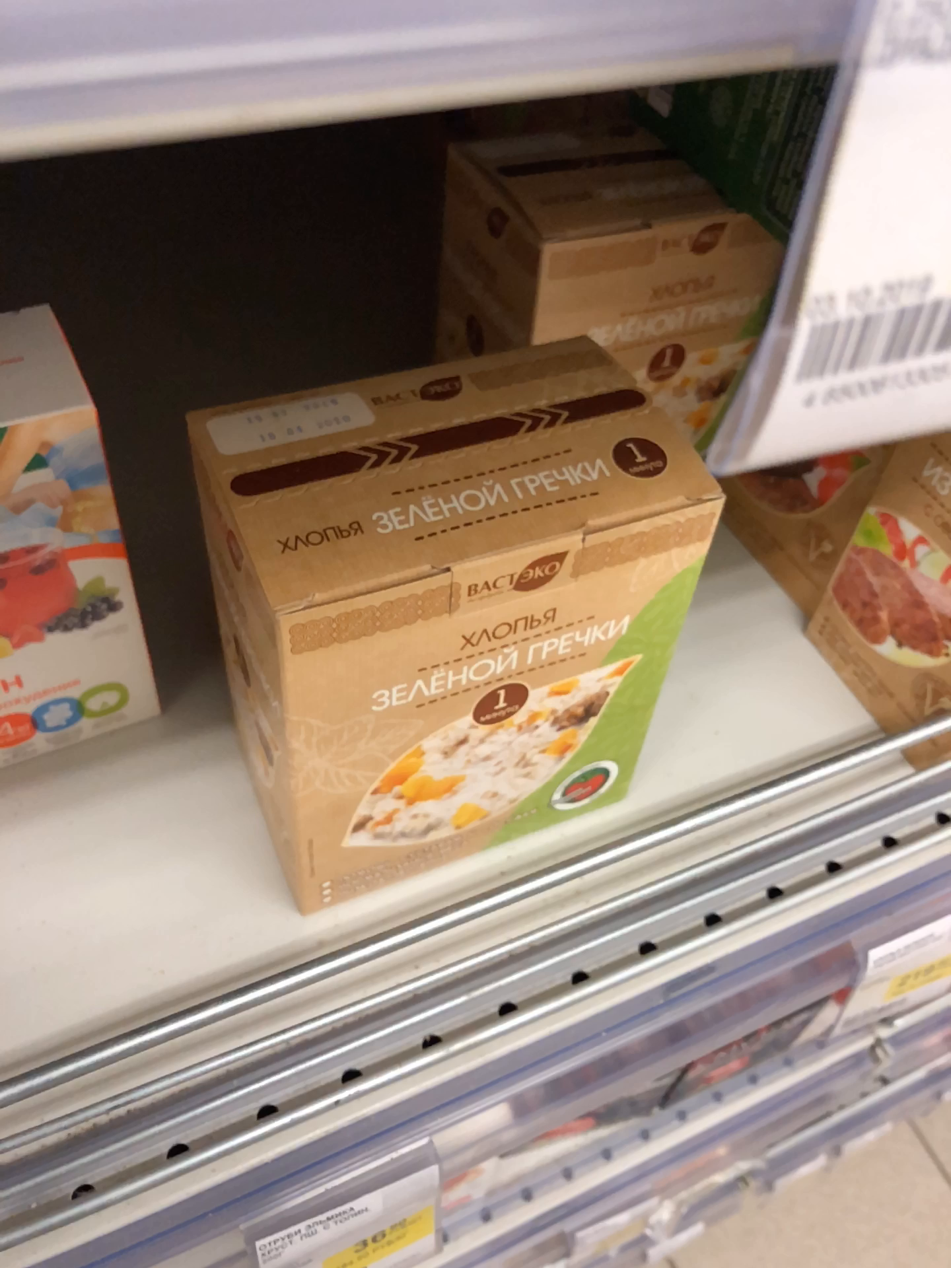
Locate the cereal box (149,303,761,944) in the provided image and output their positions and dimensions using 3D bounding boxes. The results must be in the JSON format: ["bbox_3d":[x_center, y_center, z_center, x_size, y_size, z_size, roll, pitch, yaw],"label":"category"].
[{"bbox_3d":[-0.013,0.000,0.325,0.130,0.149,0.090,-16,53,-19],"label":"cereal box"}]
